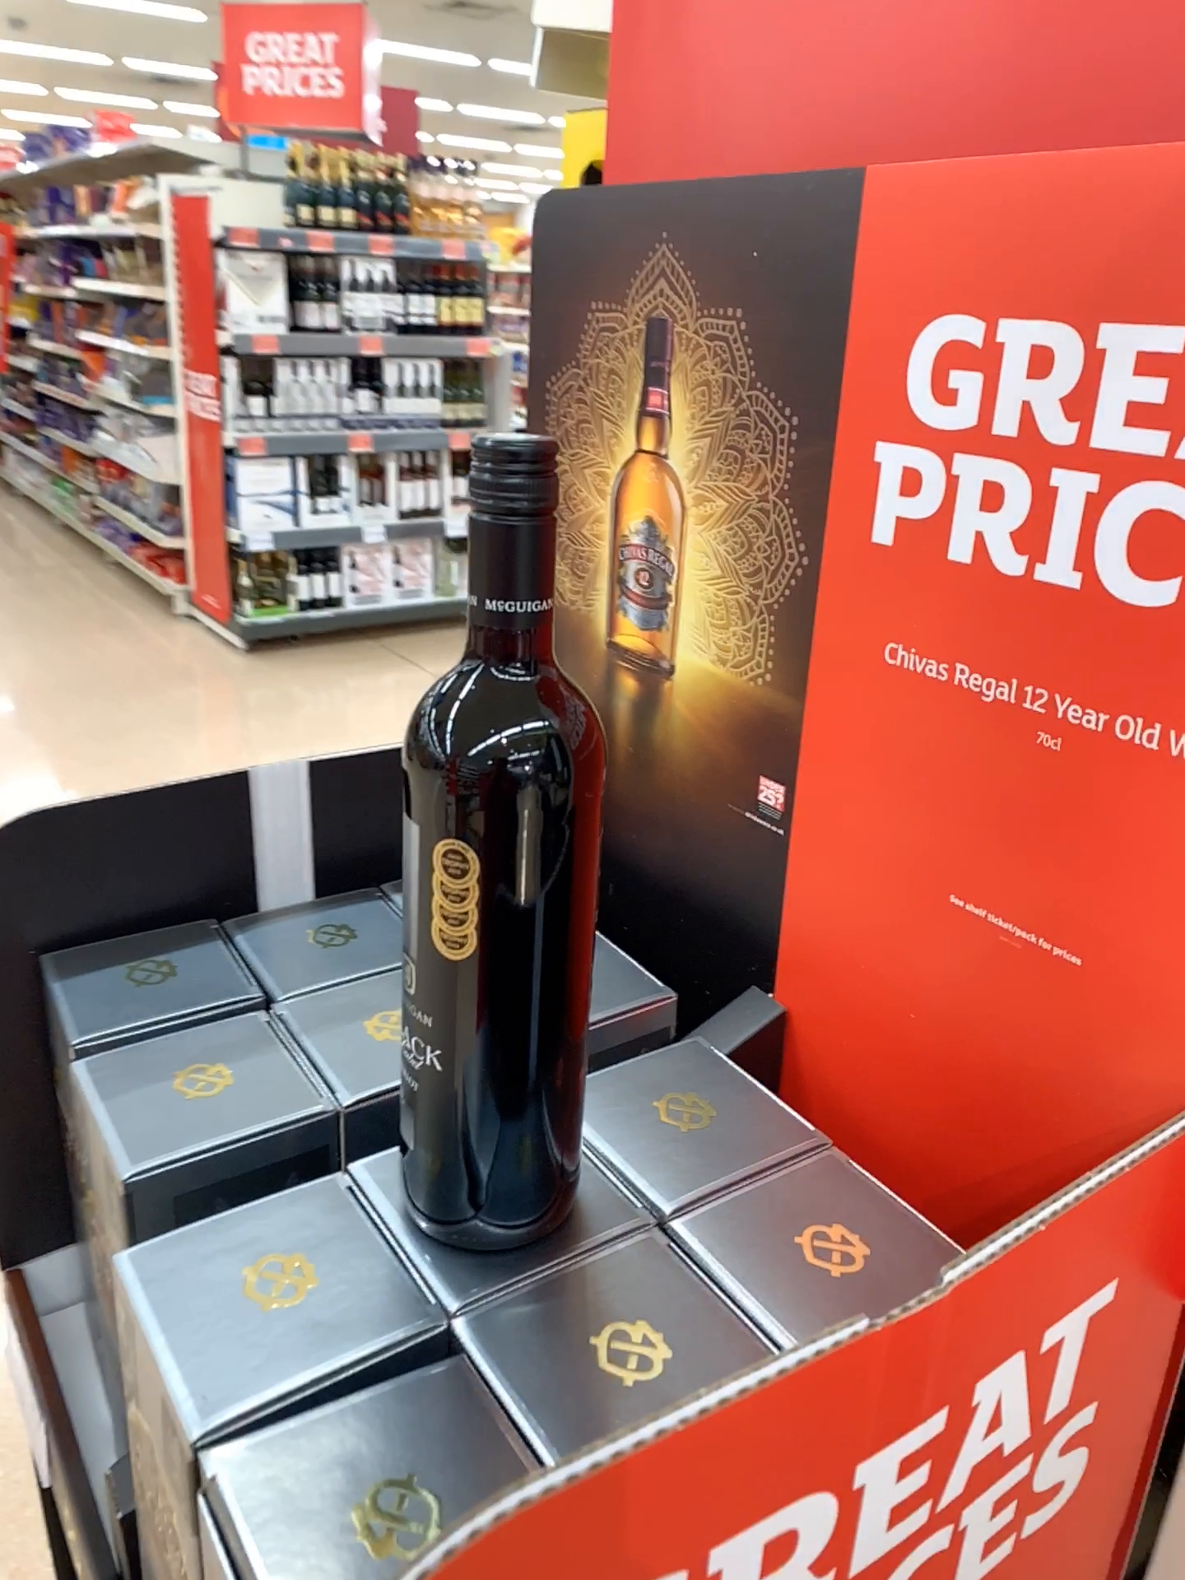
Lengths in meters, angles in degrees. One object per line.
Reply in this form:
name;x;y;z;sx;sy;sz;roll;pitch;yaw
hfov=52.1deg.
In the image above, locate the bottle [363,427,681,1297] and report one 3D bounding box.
bottle;-0.030;0.028;0.419;0.080;0.288;0.071;-5;22;-19
